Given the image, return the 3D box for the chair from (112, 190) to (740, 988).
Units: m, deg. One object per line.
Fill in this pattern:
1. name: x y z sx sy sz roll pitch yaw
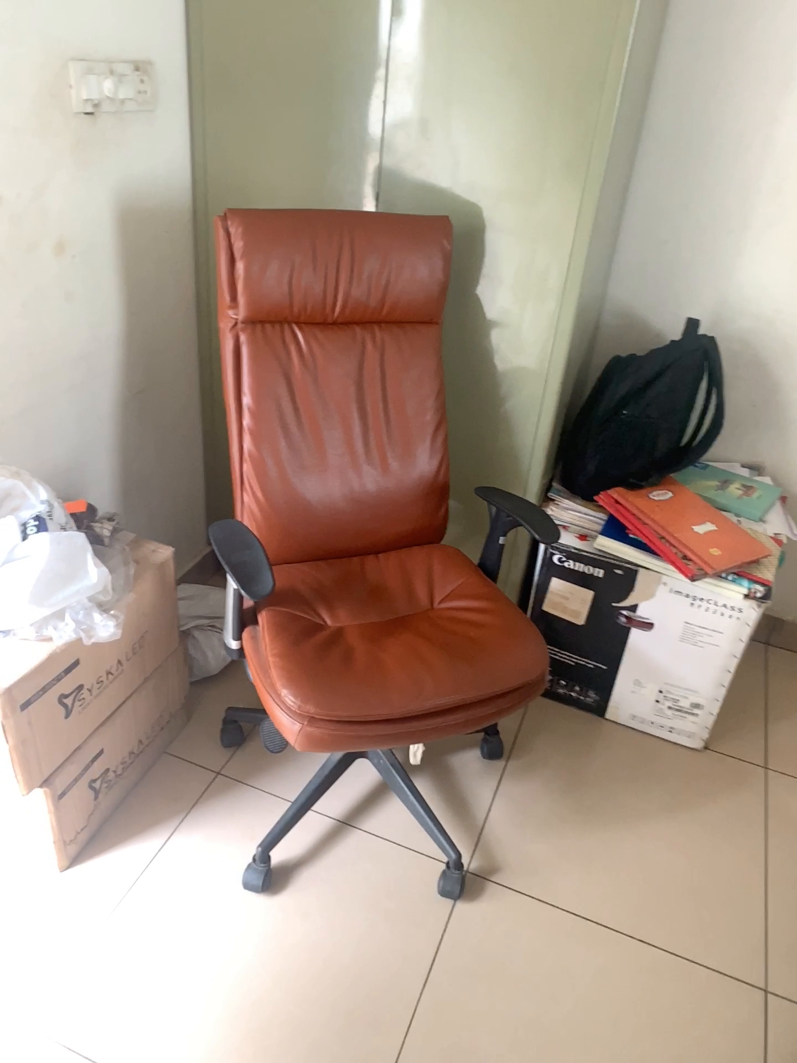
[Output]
1. chair: -0.099 0.023 1.559 0.690 1.085 0.934 -7 34 -21
